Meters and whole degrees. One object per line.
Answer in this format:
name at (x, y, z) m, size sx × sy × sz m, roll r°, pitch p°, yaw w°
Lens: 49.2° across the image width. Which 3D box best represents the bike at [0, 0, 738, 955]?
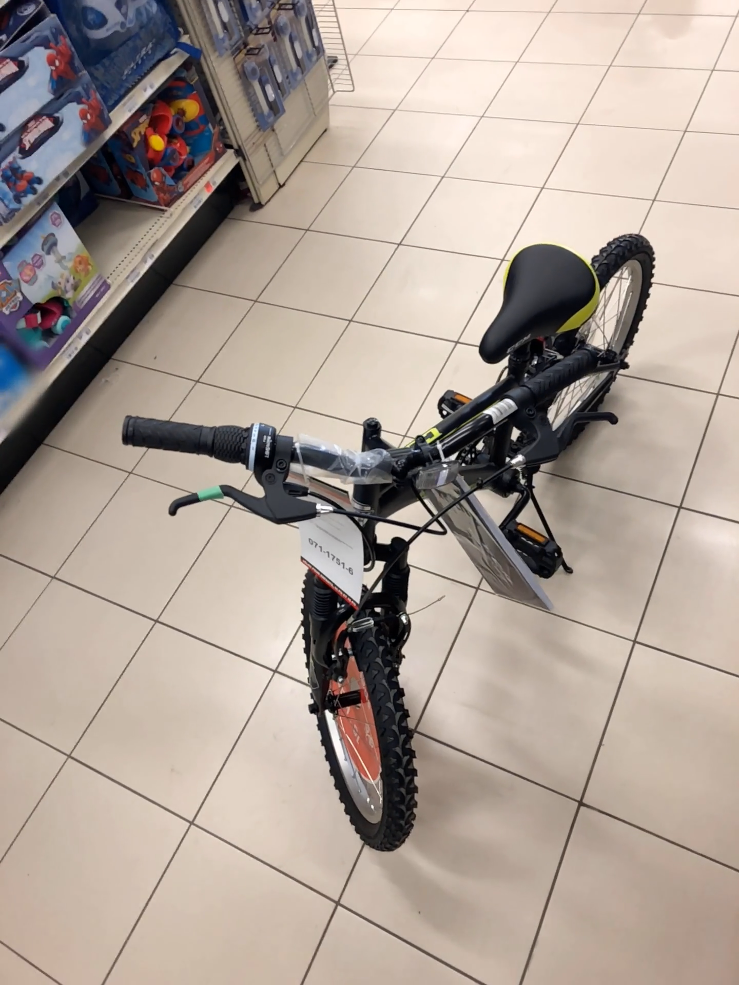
bike at (0.247, -0.092, 1.249) m, size 0.550 × 0.861 × 1.197 m, roll 18°, pitch 61°, yaw 25°
